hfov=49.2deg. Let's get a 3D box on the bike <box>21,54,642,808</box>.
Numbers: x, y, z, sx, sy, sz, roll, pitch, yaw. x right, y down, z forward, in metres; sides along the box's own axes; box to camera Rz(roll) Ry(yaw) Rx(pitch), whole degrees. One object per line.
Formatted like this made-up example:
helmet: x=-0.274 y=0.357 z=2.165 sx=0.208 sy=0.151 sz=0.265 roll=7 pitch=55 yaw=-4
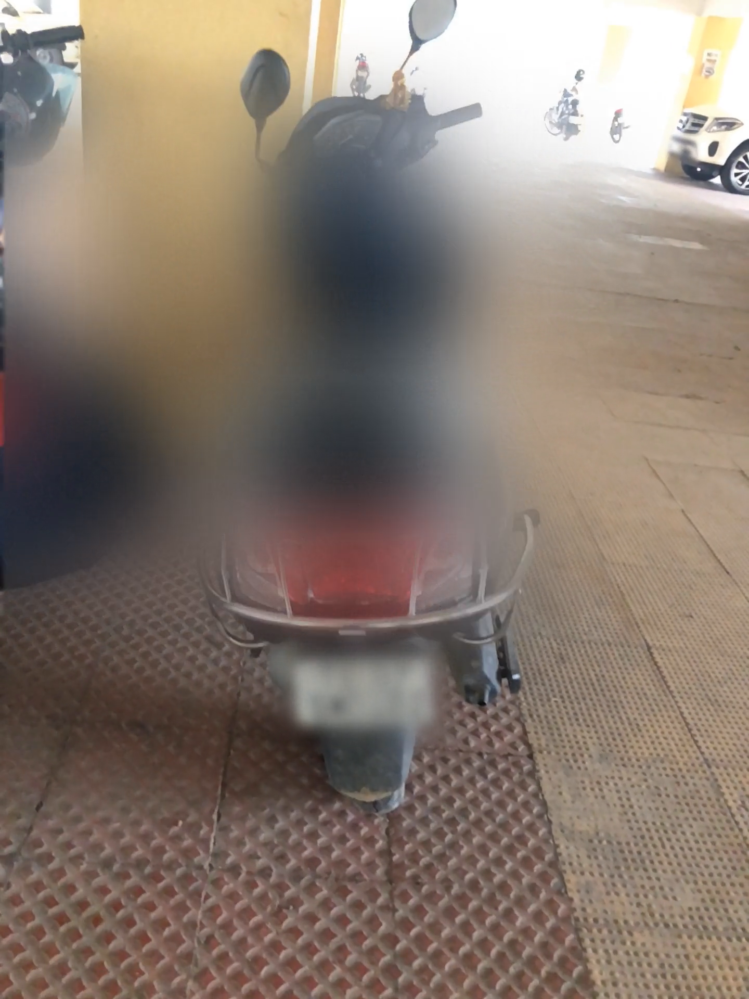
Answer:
bike: x=-0.180 y=-0.369 z=1.736 sx=0.621 sy=0.883 sz=1.667 roll=4 pitch=29 yaw=-9
